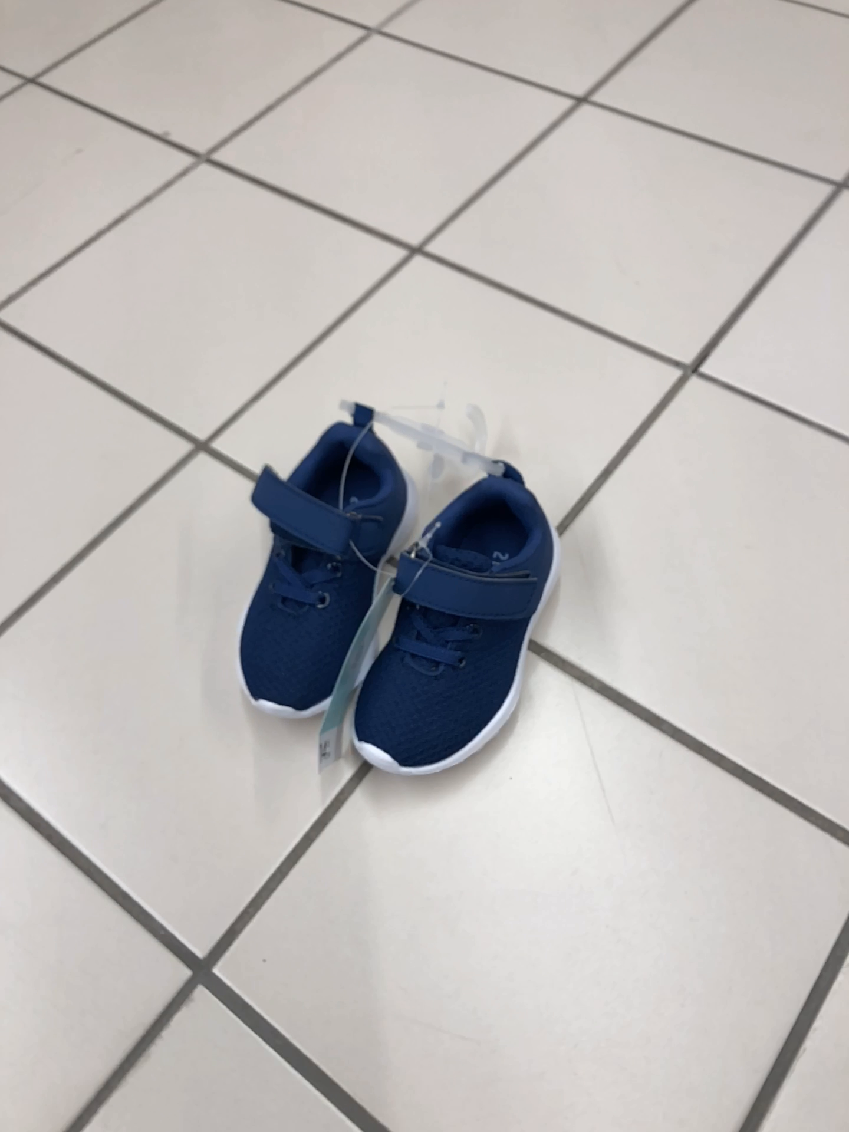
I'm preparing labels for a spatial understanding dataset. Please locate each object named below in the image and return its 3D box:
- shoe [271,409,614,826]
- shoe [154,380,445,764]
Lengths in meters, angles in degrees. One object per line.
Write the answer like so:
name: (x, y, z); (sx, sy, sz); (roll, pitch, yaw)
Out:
shoe: (0.015, 0.019, 0.435); (0.081, 0.074, 0.160); (23, 61, 19)
shoe: (-0.050, -0.001, 0.455); (0.074, 0.076, 0.158); (12, 58, 13)
